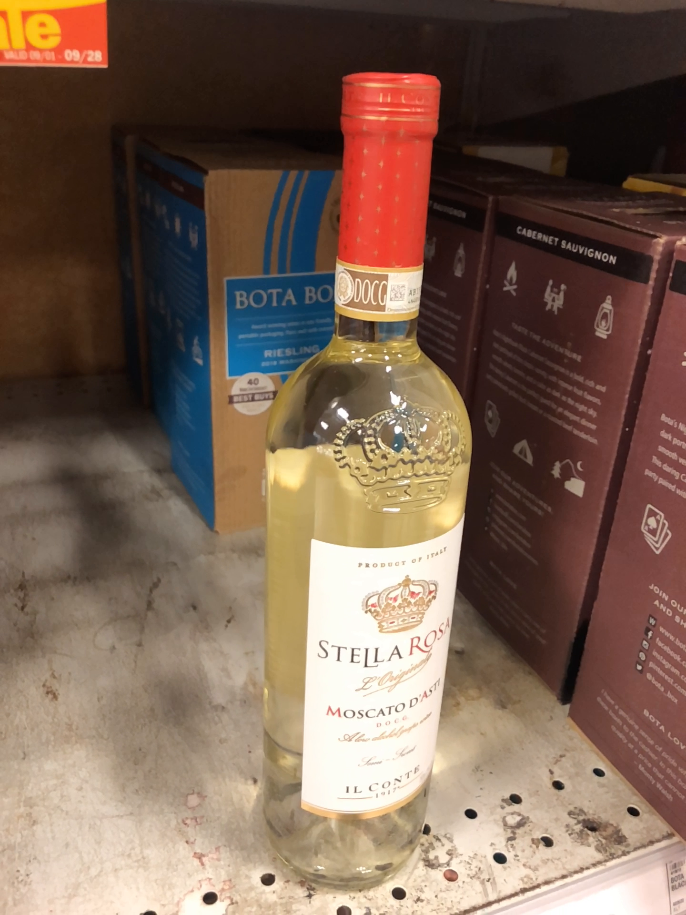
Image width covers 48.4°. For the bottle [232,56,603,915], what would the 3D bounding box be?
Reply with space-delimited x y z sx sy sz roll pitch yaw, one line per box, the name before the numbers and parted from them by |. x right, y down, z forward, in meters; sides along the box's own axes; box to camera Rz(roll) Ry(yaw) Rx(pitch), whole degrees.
bottle | 0.009 0.032 0.287 0.080 0.319 0.070 -10 30 -25
